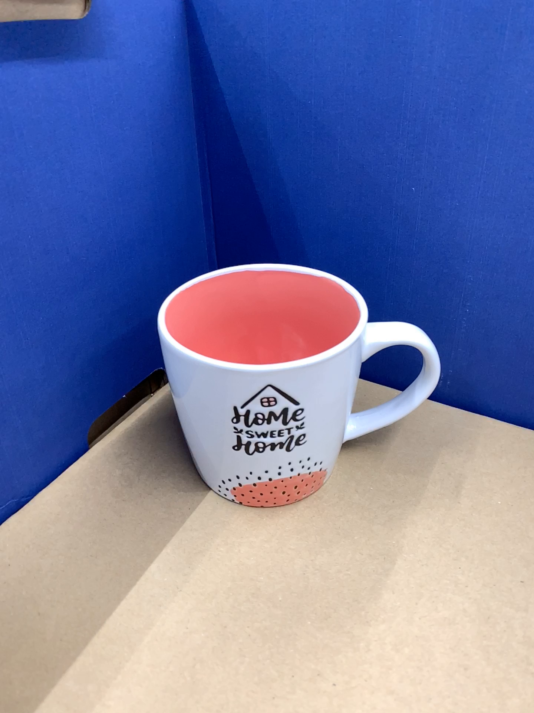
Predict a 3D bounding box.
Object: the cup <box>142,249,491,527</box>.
[{"bbox_3d":[0.013,0.007,0.232,0.115,0.070,0.083,-6,32,-6],"label":"cup"}]
